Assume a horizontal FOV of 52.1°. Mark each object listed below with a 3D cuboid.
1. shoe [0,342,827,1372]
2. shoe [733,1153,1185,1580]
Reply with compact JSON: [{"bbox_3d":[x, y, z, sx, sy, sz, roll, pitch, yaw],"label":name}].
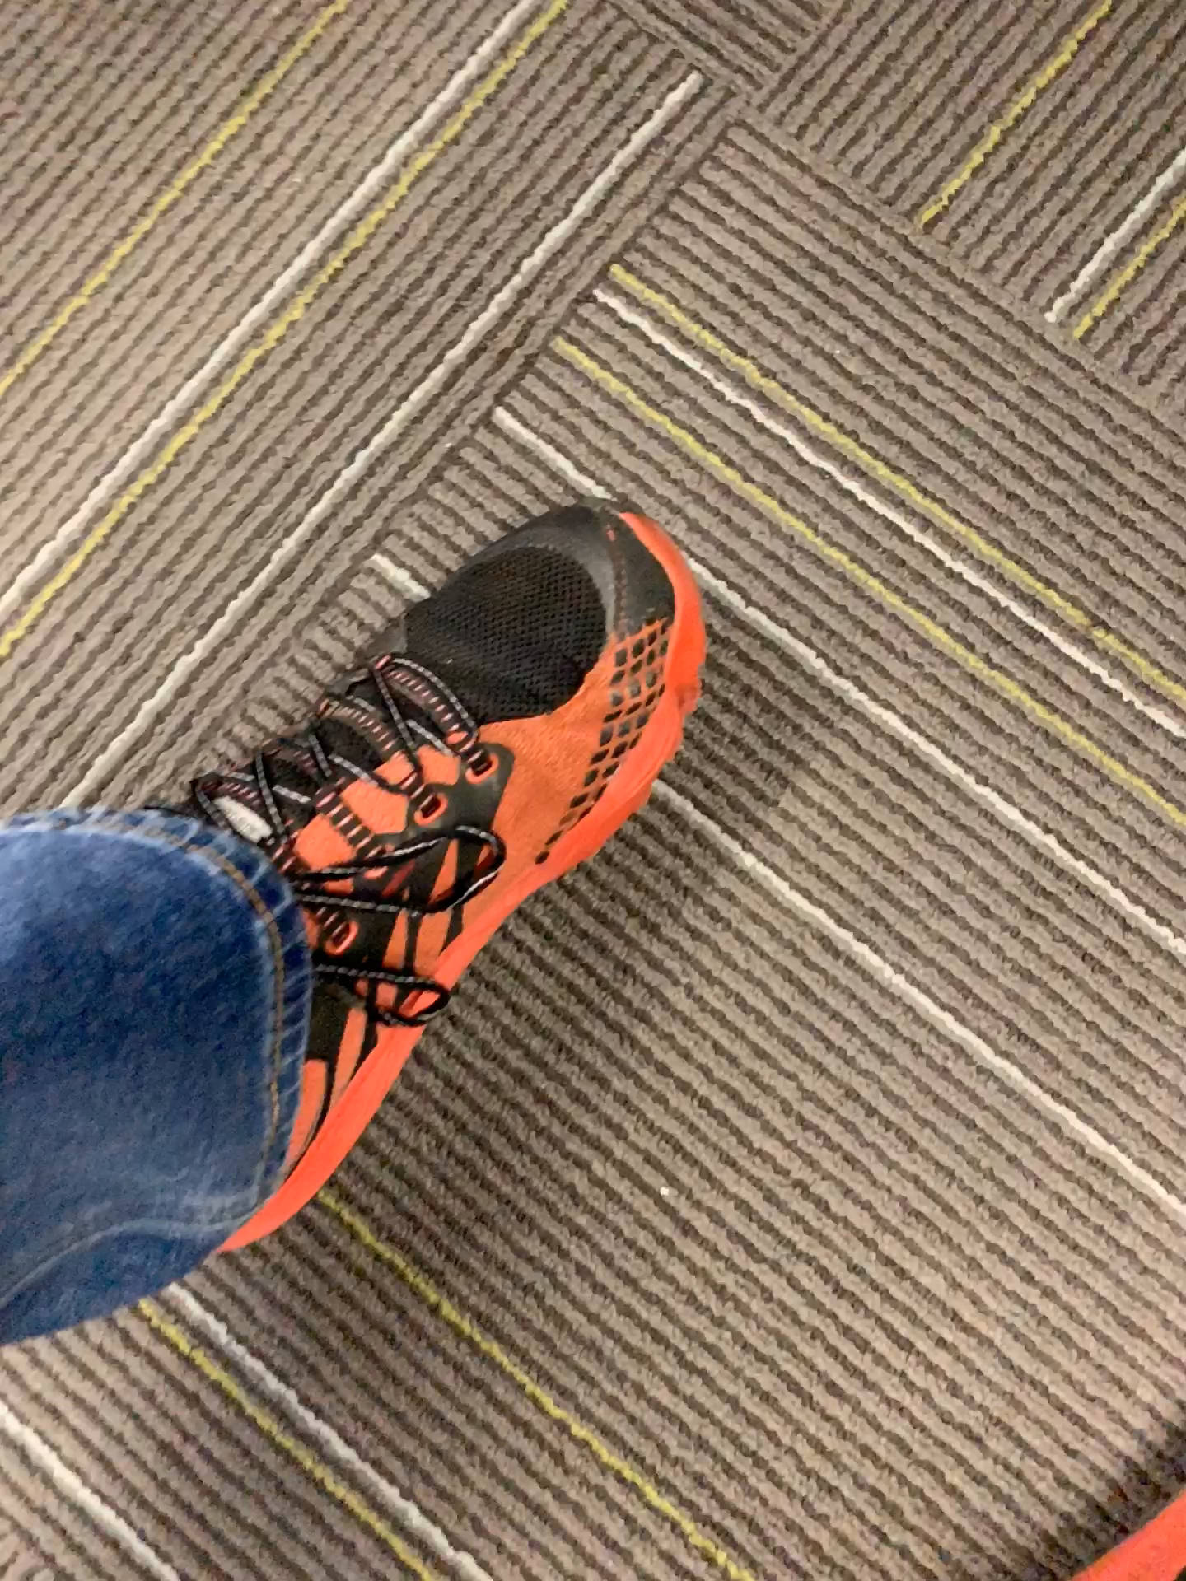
[{"bbox_3d":[-0.077,0.020,0.406,0.132,0.090,0.305,39,88,27],"label":"shoe"},{"bbox_3d":[0.208,0.275,0.360,0.302,0.090,0.140,-42,94,0],"label":"shoe"}]
